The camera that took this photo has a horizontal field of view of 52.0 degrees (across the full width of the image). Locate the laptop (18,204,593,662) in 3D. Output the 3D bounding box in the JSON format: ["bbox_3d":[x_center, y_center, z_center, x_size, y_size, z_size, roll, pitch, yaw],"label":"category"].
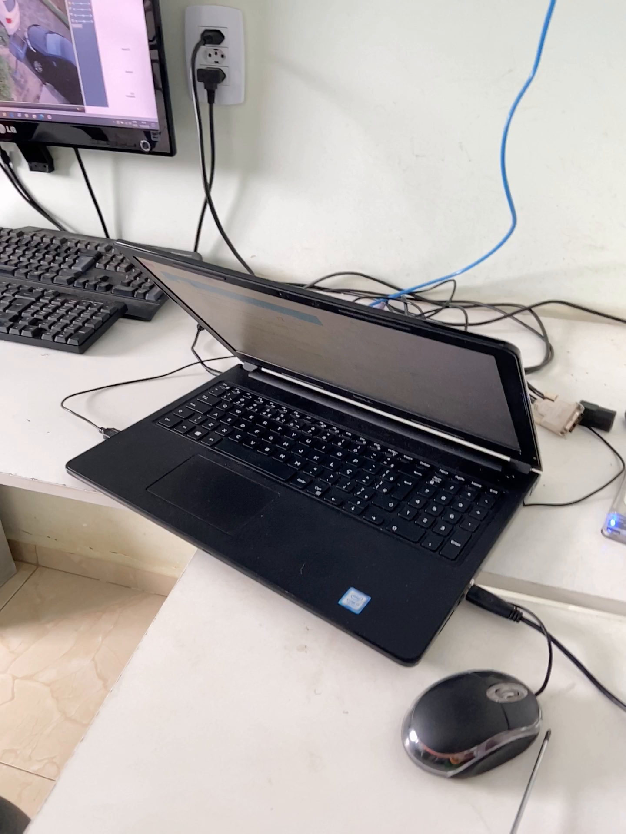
[{"bbox_3d":[-0.007,-0.030,0.560,0.372,0.192,0.256,22,38,28],"label":"laptop"}]
